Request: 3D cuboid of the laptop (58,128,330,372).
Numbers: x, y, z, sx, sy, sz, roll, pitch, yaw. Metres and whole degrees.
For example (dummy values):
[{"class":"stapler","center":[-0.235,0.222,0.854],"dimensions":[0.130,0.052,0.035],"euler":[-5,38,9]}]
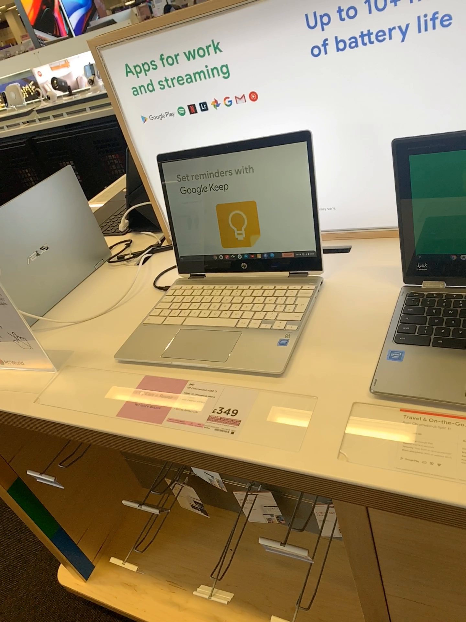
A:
[{"class":"laptop","center":[-0.033,-0.092,0.683],"dimensions":[0.258,0.190,0.271],"euler":[1,40,28]}]
